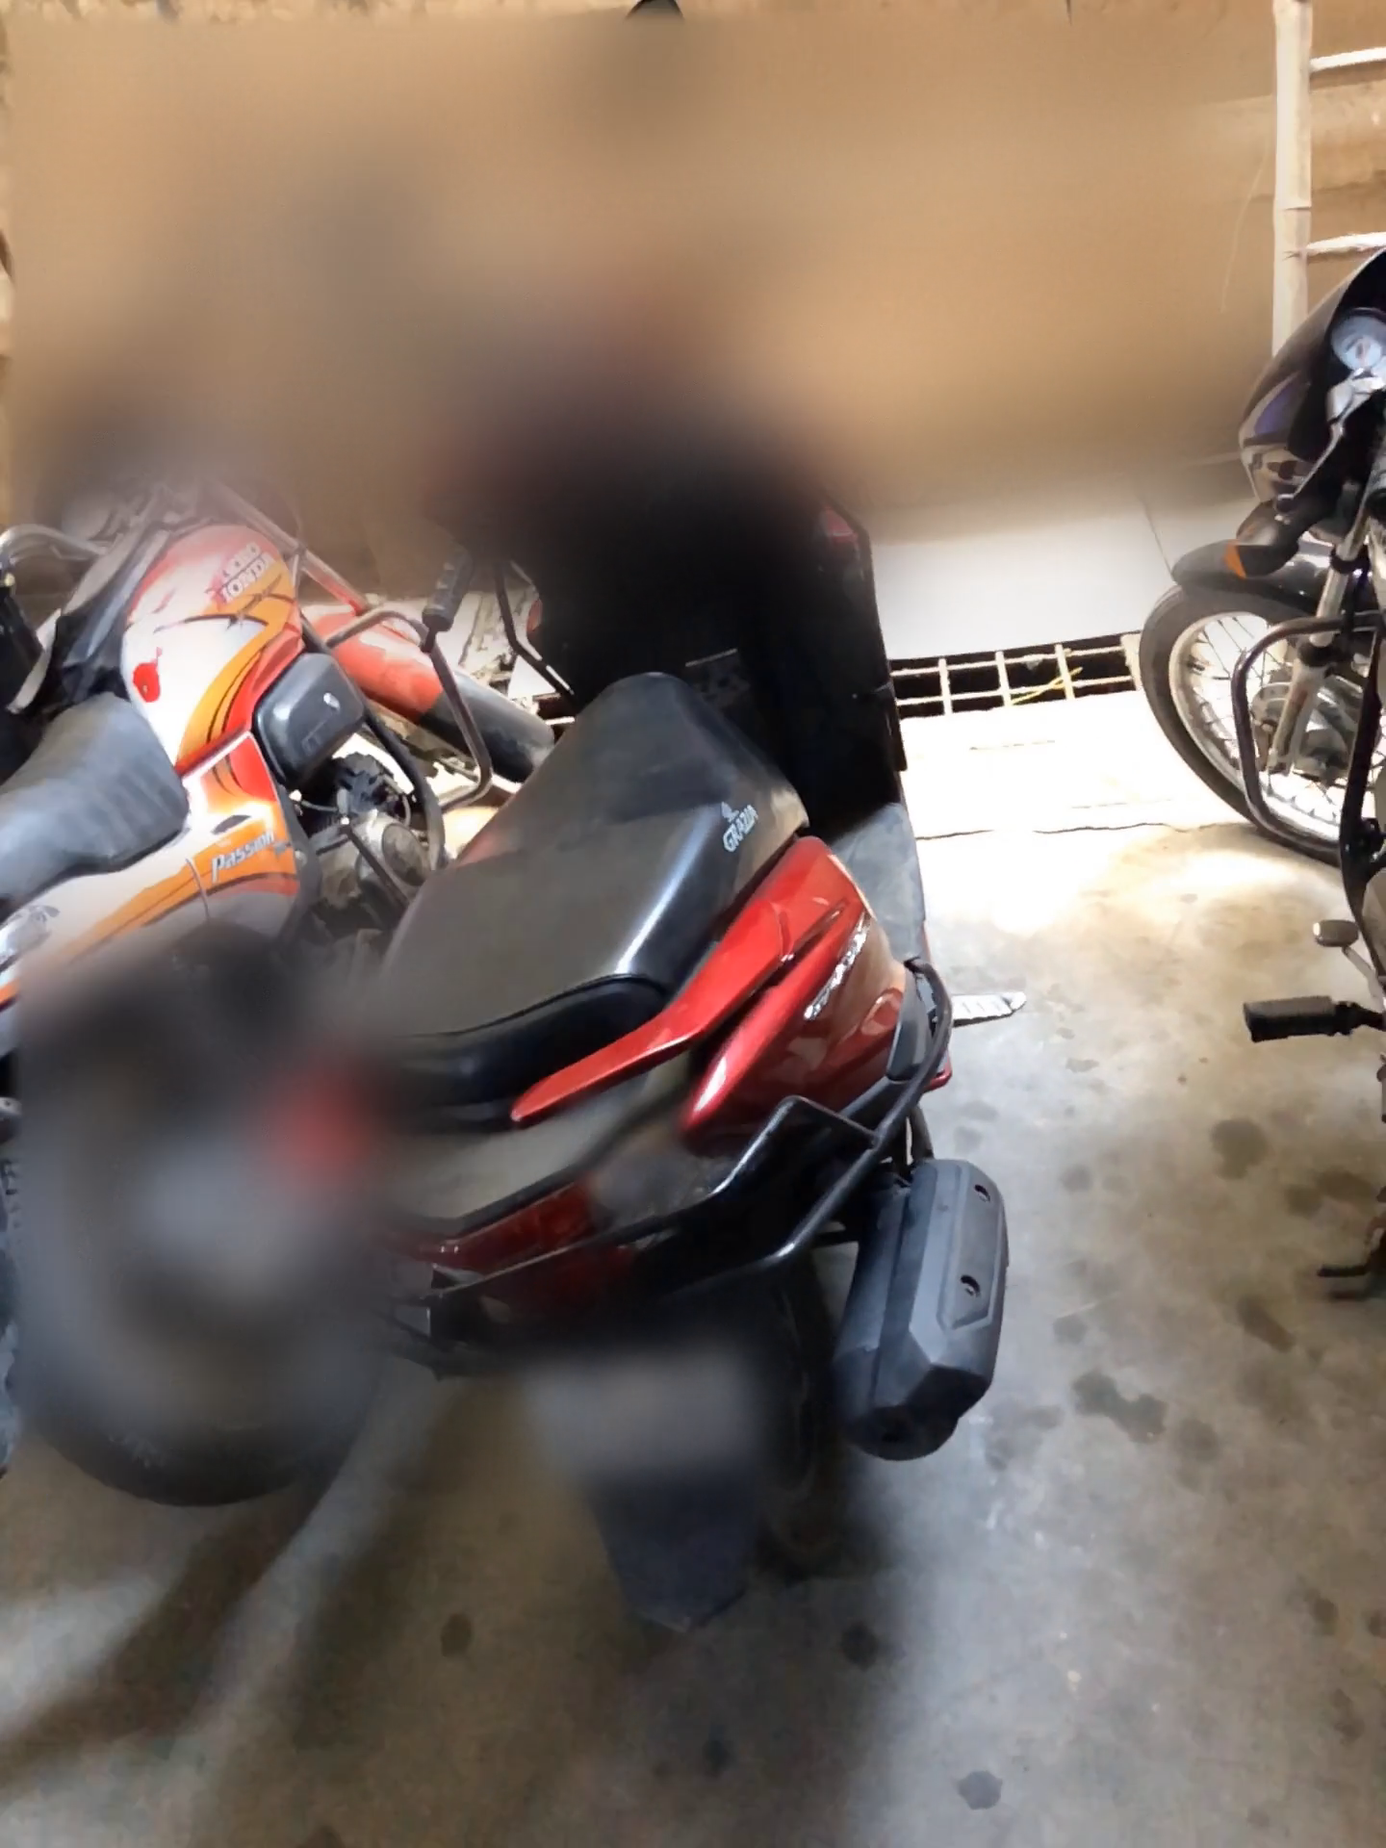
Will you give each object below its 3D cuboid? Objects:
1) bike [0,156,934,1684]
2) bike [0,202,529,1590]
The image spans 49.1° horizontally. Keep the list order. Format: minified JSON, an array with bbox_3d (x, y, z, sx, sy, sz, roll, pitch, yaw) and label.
[{"bbox_3d":[-0.124,-0.100,1.833,0.630,1.139,1.446,-5,37,7],"label":"bike"},{"bbox_3d":[-0.844,-0.174,2.046,0.839,1.089,1.658,-5,35,7],"label":"bike"}]
